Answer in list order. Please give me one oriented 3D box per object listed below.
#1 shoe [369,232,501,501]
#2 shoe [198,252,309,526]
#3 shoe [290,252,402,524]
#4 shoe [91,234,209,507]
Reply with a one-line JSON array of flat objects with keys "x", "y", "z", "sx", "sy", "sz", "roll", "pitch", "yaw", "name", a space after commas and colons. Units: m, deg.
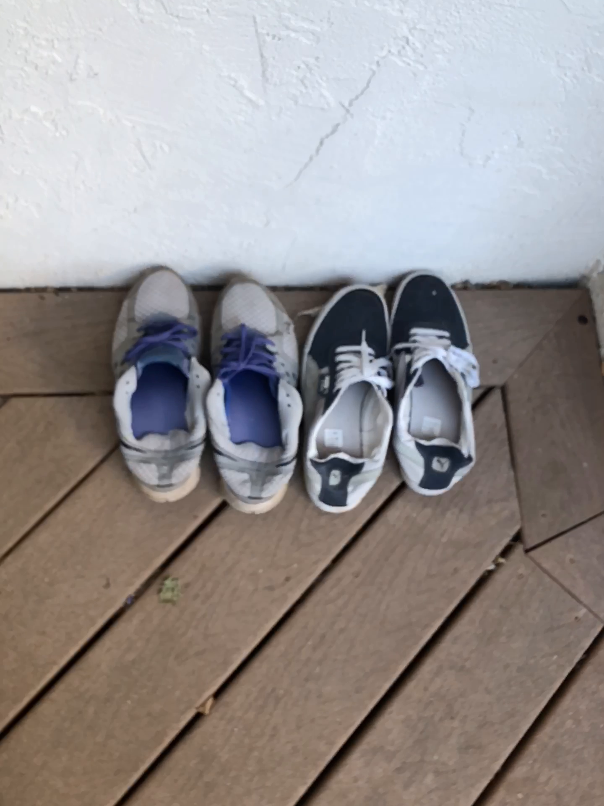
[{"x": 0.163, "y": -0.047, "z": 0.865, "sx": 0.120, "sy": 0.100, "sz": 0.330, "roll": -1, "pitch": 74, "yaw": -3, "name": "shoe"}, {"x": -0.062, "y": -0.018, "z": 0.830, "sx": 0.120, "sy": 0.100, "sz": 0.320, "roll": -2, "pitch": 74, "yaw": -4, "name": "shoe"}, {"x": 0.055, "y": -0.018, "z": 0.844, "sx": 0.120, "sy": 0.100, "sz": 0.320, "roll": 4, "pitch": 74, "yaw": -2, "name": "shoe"}, {"x": -0.182, "y": -0.040, "z": 0.831, "sx": 0.120, "sy": 0.100, "sz": 0.320, "roll": -2, "pitch": 74, "yaw": -4, "name": "shoe"}]
